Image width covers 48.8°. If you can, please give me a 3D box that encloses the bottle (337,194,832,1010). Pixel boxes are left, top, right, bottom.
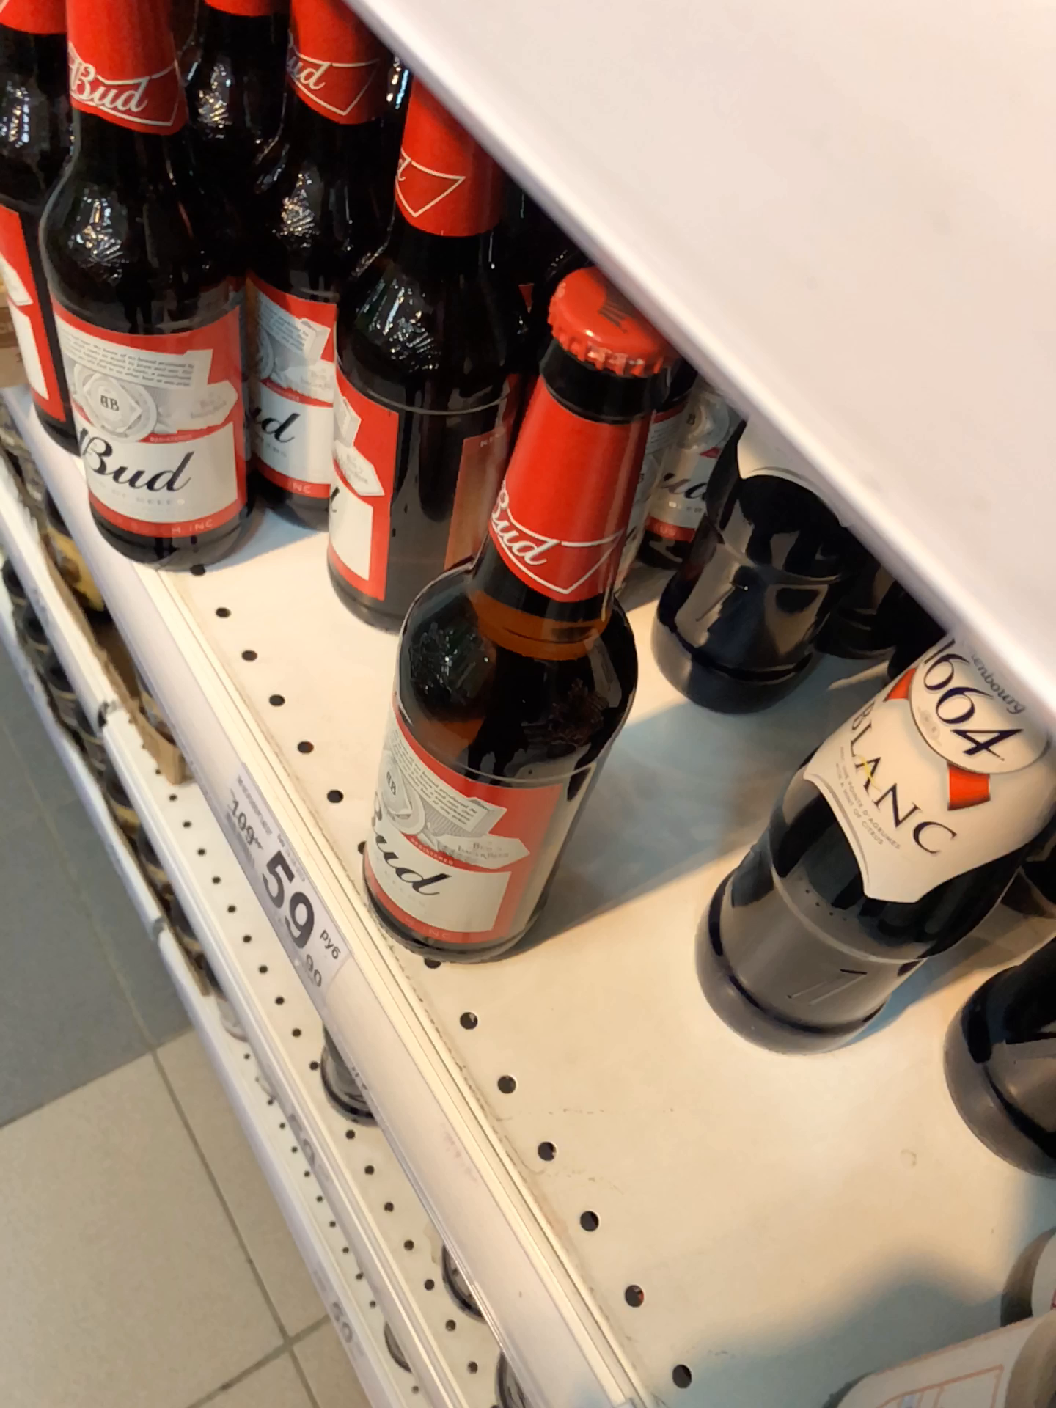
[{"bbox_3d":[-0.006,-0.006,0.336,0.070,0.249,0.080,-16,59,-20],"label":"bottle"}]
